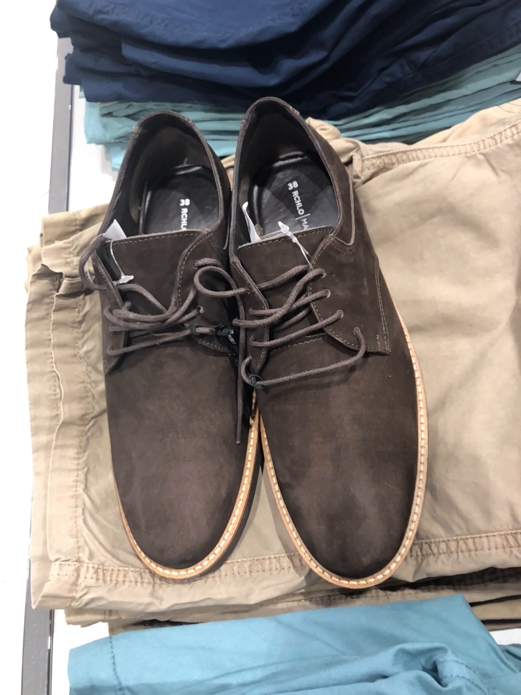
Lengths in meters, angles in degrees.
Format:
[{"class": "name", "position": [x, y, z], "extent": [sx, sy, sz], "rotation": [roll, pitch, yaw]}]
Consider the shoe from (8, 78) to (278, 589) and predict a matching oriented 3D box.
[{"class": "shoe", "position": [-0.056, -0.005, 0.346], "extent": [0.110, 0.110, 0.261], "rotation": [-4, 75, 10]}]

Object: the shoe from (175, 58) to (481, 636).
[{"class": "shoe", "position": [0.032, -0.001, 0.316], "extent": [0.100, 0.110, 0.261], "rotation": [-12, 71, 13]}]
